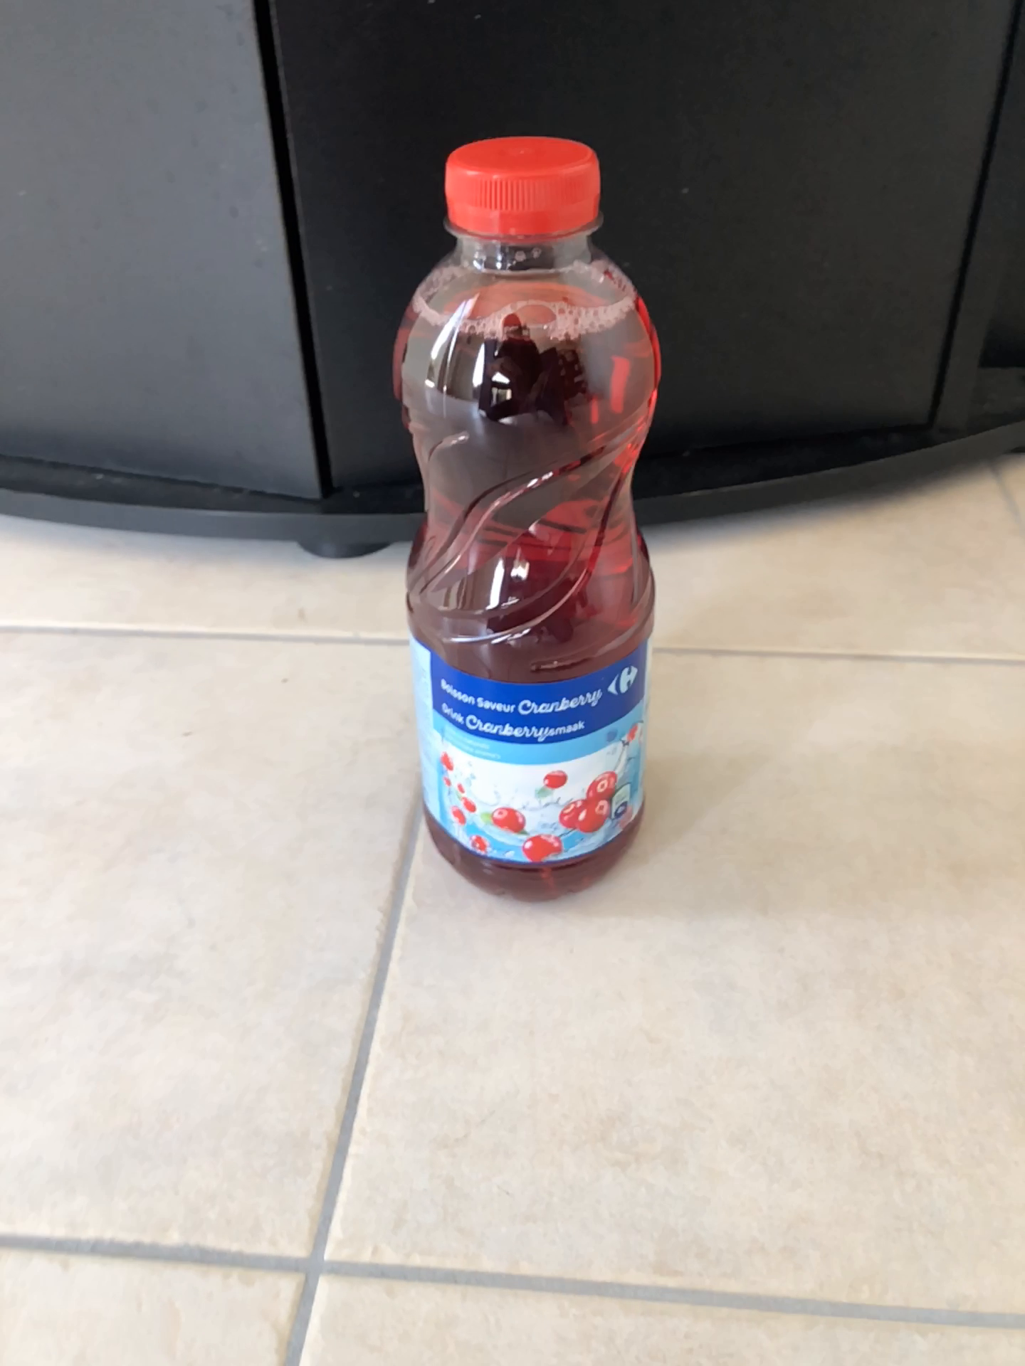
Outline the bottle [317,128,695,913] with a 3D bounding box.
[{"bbox_3d":[0.006,-0.045,0.380,0.090,0.239,0.101,2,37,6],"label":"bottle"}]
